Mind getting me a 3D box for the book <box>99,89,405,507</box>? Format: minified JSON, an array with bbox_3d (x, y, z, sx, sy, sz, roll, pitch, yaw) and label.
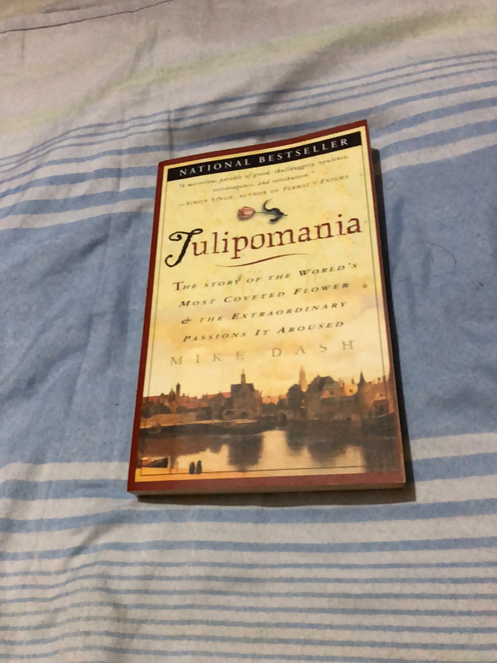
[{"bbox_3d":[0.005,-0.024,0.320,0.140,0.050,0.230,-6,63,14],"label":"book"}]
